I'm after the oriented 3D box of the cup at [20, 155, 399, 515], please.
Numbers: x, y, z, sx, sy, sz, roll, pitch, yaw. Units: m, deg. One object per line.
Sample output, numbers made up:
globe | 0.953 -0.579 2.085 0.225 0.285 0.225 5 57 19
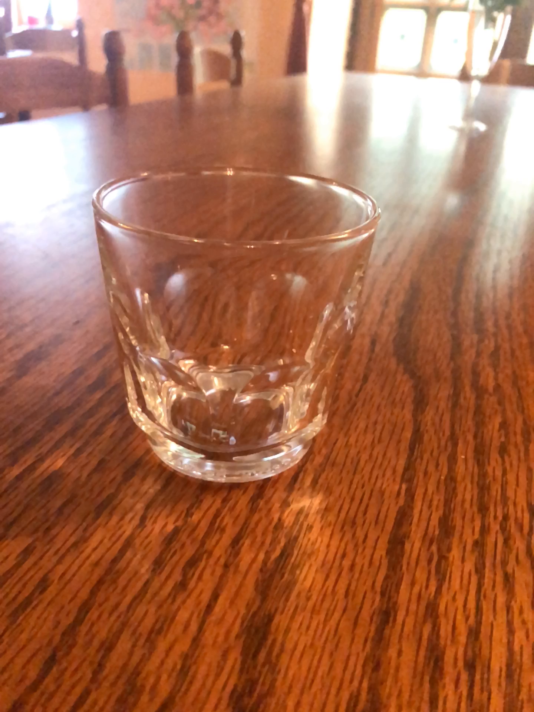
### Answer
cup | -0.008 -0.014 0.182 0.083 0.069 0.083 3 28 -1
